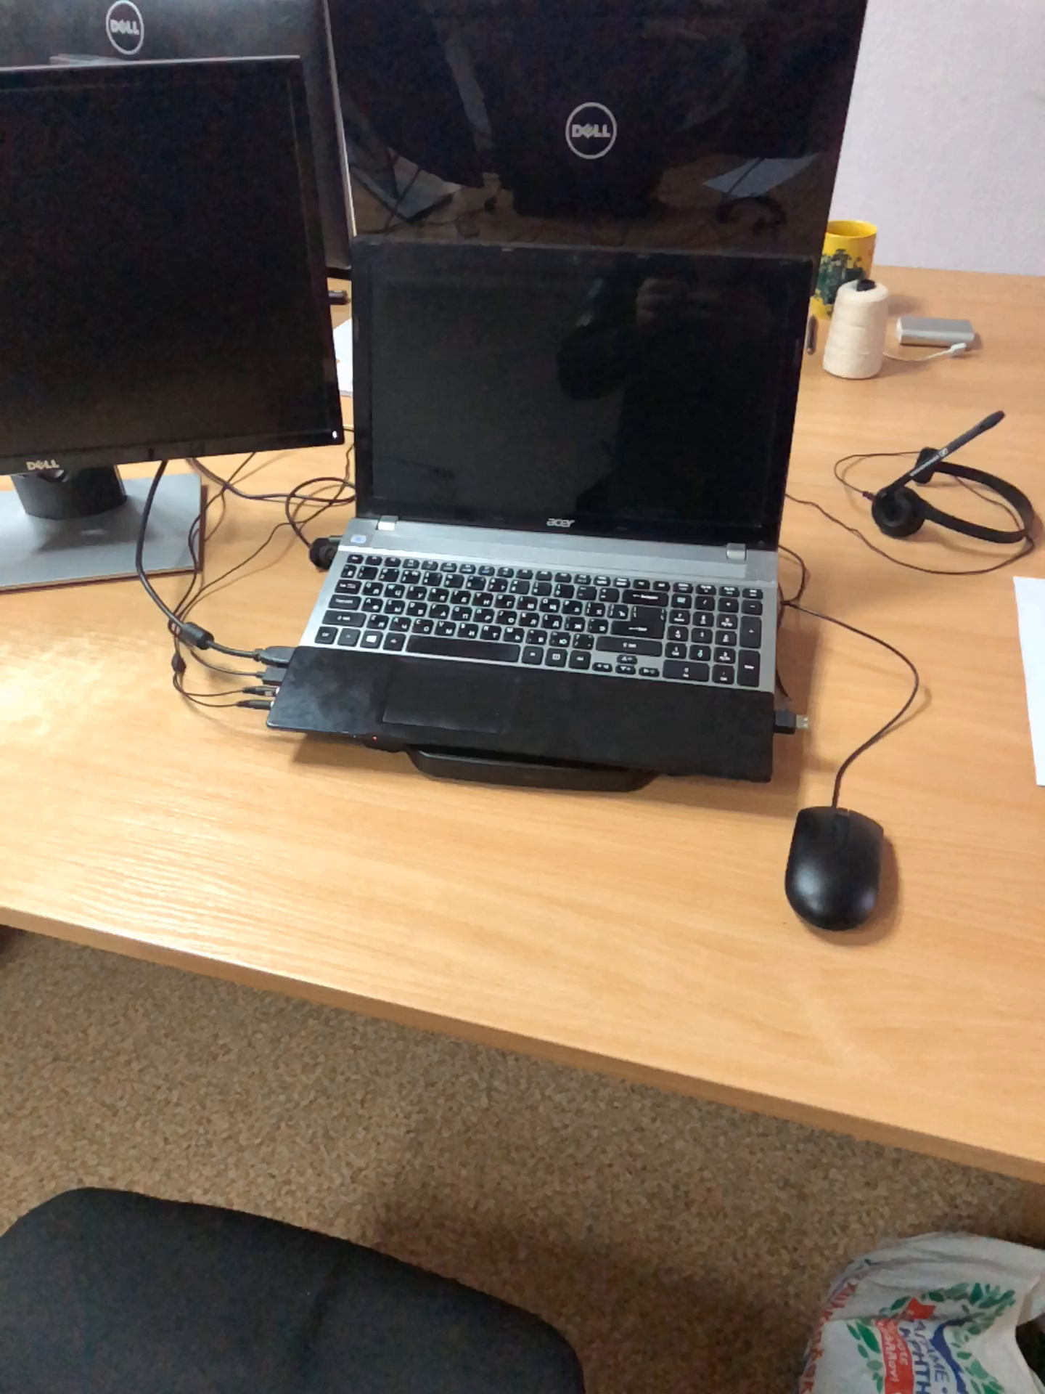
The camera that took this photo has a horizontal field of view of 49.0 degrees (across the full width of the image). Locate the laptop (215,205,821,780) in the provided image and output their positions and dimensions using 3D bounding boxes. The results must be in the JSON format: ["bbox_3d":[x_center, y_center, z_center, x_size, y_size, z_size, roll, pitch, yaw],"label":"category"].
[{"bbox_3d":[0.021,-0.175,0.873,0.370,0.215,0.354,6,46,9],"label":"laptop"}]
